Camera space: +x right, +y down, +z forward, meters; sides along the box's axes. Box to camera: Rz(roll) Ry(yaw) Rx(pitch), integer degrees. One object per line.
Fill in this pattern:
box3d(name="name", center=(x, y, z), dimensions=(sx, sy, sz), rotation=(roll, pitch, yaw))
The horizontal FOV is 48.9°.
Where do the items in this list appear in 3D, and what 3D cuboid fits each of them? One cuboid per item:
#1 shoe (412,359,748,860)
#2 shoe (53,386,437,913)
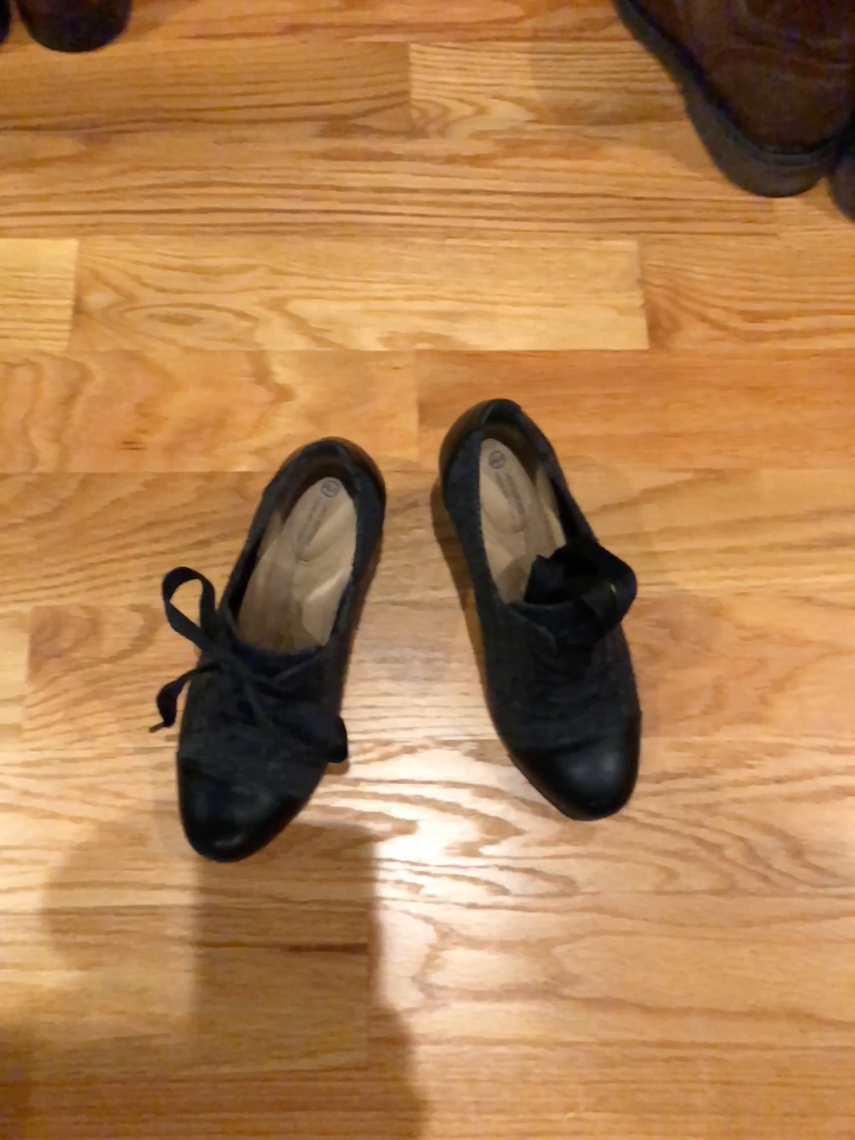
box3d(name="shoe", center=(0.065, 0.027, 0.494), dimensions=(0.088, 0.125, 0.223), rotation=(-14, 74, -6))
box3d(name="shoe", center=(-0.078, 0.044, 0.483), dimensions=(0.093, 0.125, 0.223), rotation=(19, 74, 3))
